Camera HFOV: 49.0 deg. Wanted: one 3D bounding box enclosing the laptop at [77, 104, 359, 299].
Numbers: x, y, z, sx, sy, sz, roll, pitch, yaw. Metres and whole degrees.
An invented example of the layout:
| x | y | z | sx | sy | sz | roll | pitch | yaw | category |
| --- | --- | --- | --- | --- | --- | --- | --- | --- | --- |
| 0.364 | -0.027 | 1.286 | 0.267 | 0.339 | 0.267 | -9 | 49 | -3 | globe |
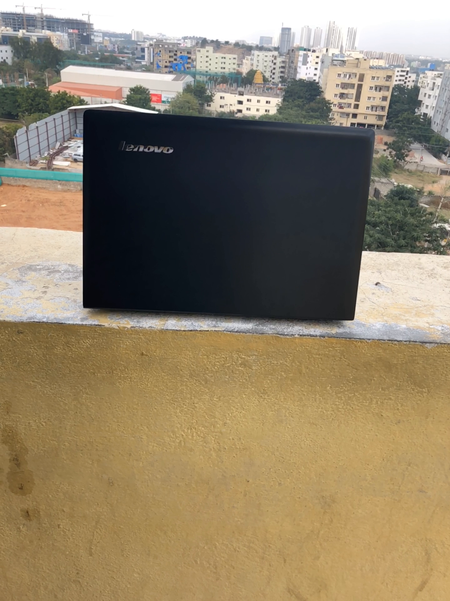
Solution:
| x | y | z | sx | sy | sz | roll | pitch | yaw | category |
| --- | --- | --- | --- | --- | --- | --- | --- | --- | --- |
| -0.016 | -0.160 | 0.744 | 0.333 | 0.223 | 0.246 | 2 | 26 | -2 | laptop |
